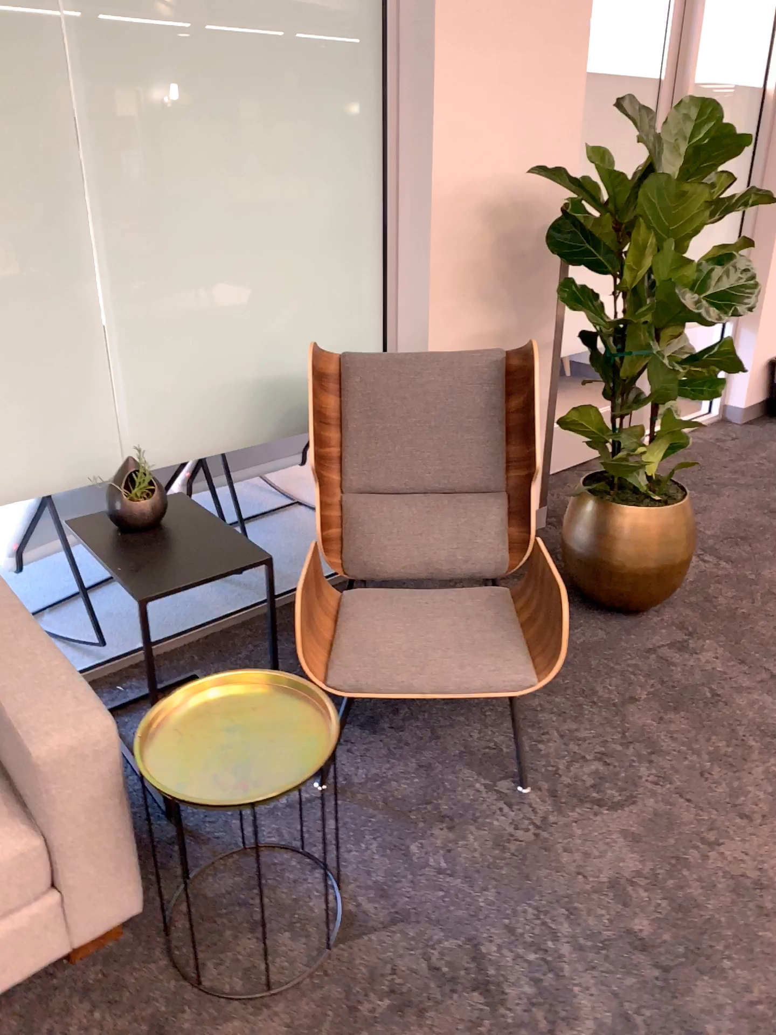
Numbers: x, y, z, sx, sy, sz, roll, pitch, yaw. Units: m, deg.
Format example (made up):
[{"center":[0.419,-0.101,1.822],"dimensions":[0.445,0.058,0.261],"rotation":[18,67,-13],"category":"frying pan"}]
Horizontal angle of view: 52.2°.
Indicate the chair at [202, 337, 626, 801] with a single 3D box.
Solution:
[{"center":[0.051,0.082,2.273],"dimensions":[0.880,0.995,0.935],"rotation":[0,24,0],"category":"chair"}]
